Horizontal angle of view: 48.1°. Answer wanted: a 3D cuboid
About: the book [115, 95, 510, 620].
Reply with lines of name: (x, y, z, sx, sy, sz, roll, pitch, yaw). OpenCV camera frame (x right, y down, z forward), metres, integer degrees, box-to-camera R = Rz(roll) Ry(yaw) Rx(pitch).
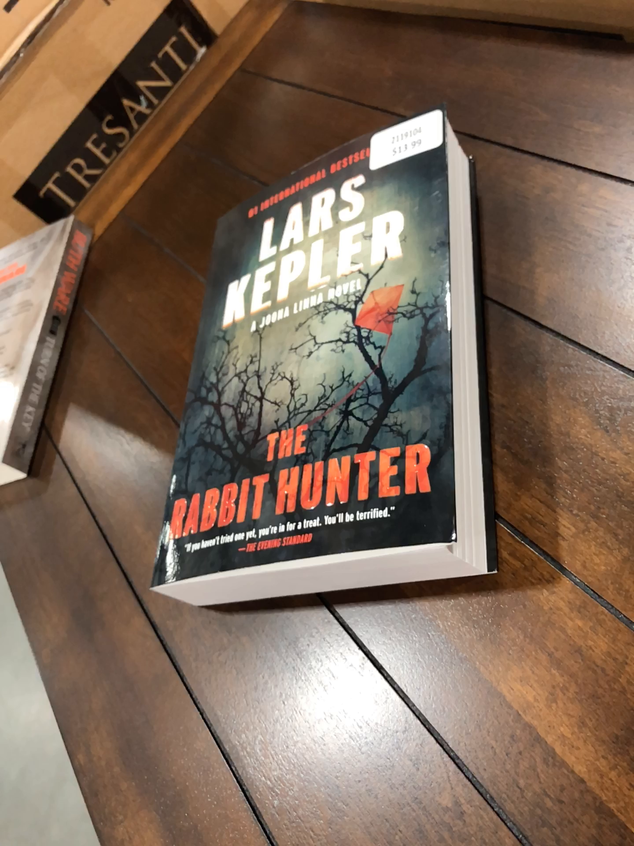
book: (-0.001, -0.029, 0.337, 0.160, 0.046, 0.222, -14, 56, 31)
